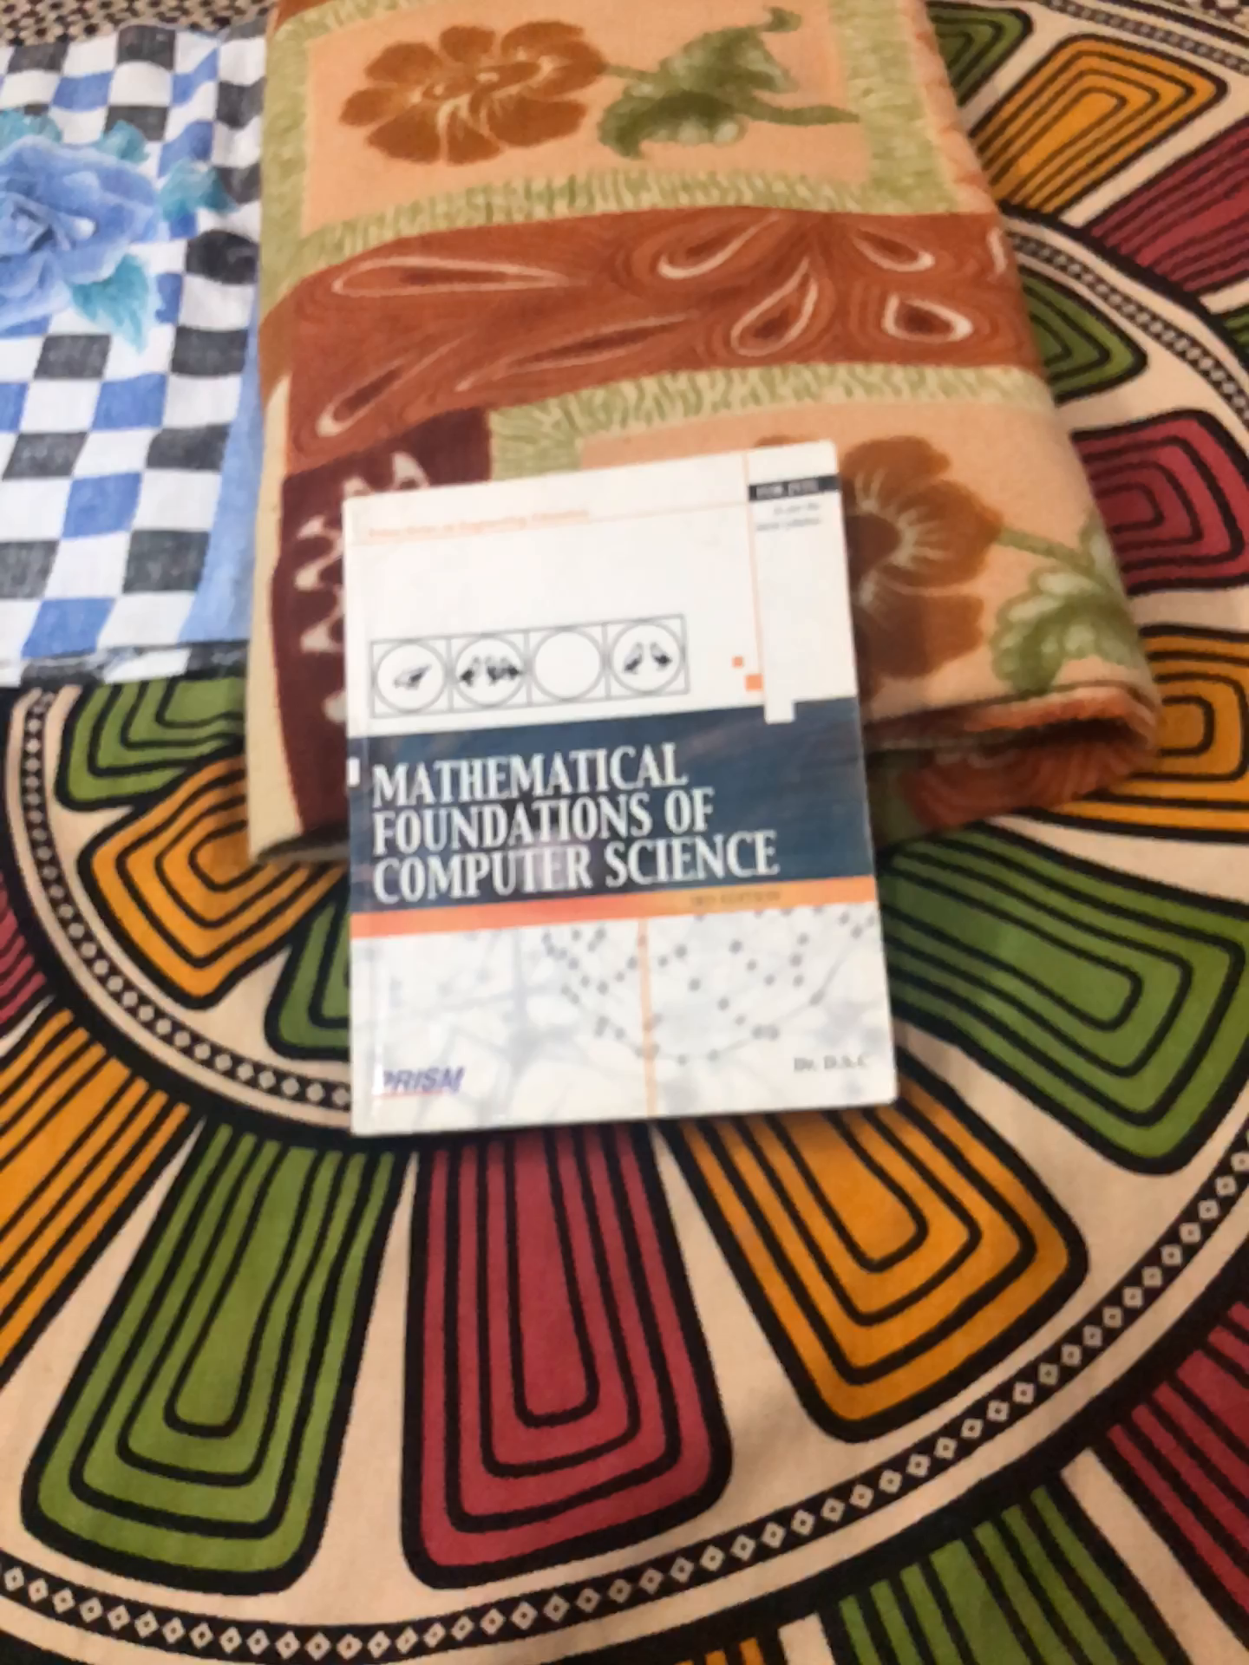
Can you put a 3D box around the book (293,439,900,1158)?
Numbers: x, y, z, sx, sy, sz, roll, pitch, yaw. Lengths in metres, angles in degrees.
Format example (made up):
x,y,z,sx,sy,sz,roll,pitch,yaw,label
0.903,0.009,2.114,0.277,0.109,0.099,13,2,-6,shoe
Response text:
x,y,z,sx,sy,sz,roll,pitch,yaw,label
-0.013,-0.011,0.493,0.190,0.050,0.230,-5,79,5,book
